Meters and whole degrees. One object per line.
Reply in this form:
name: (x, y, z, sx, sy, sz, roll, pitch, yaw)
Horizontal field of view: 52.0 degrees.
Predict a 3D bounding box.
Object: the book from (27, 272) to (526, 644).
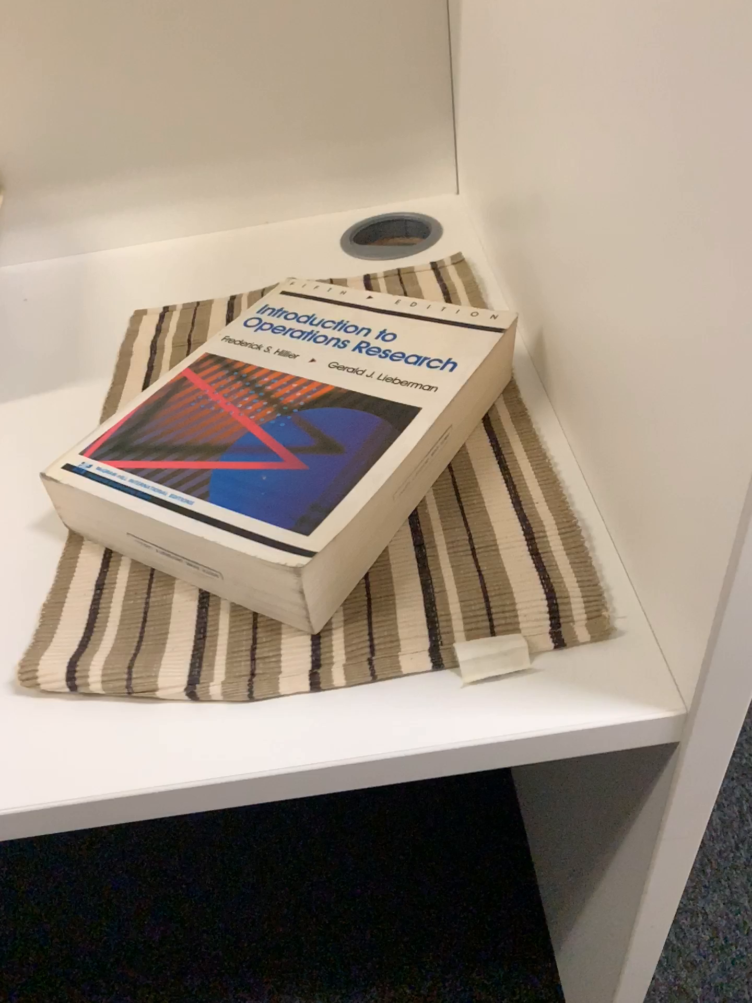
book: (-0.047, -0.050, 0.471, 0.196, 0.052, 0.235, 18, 48, 27)
